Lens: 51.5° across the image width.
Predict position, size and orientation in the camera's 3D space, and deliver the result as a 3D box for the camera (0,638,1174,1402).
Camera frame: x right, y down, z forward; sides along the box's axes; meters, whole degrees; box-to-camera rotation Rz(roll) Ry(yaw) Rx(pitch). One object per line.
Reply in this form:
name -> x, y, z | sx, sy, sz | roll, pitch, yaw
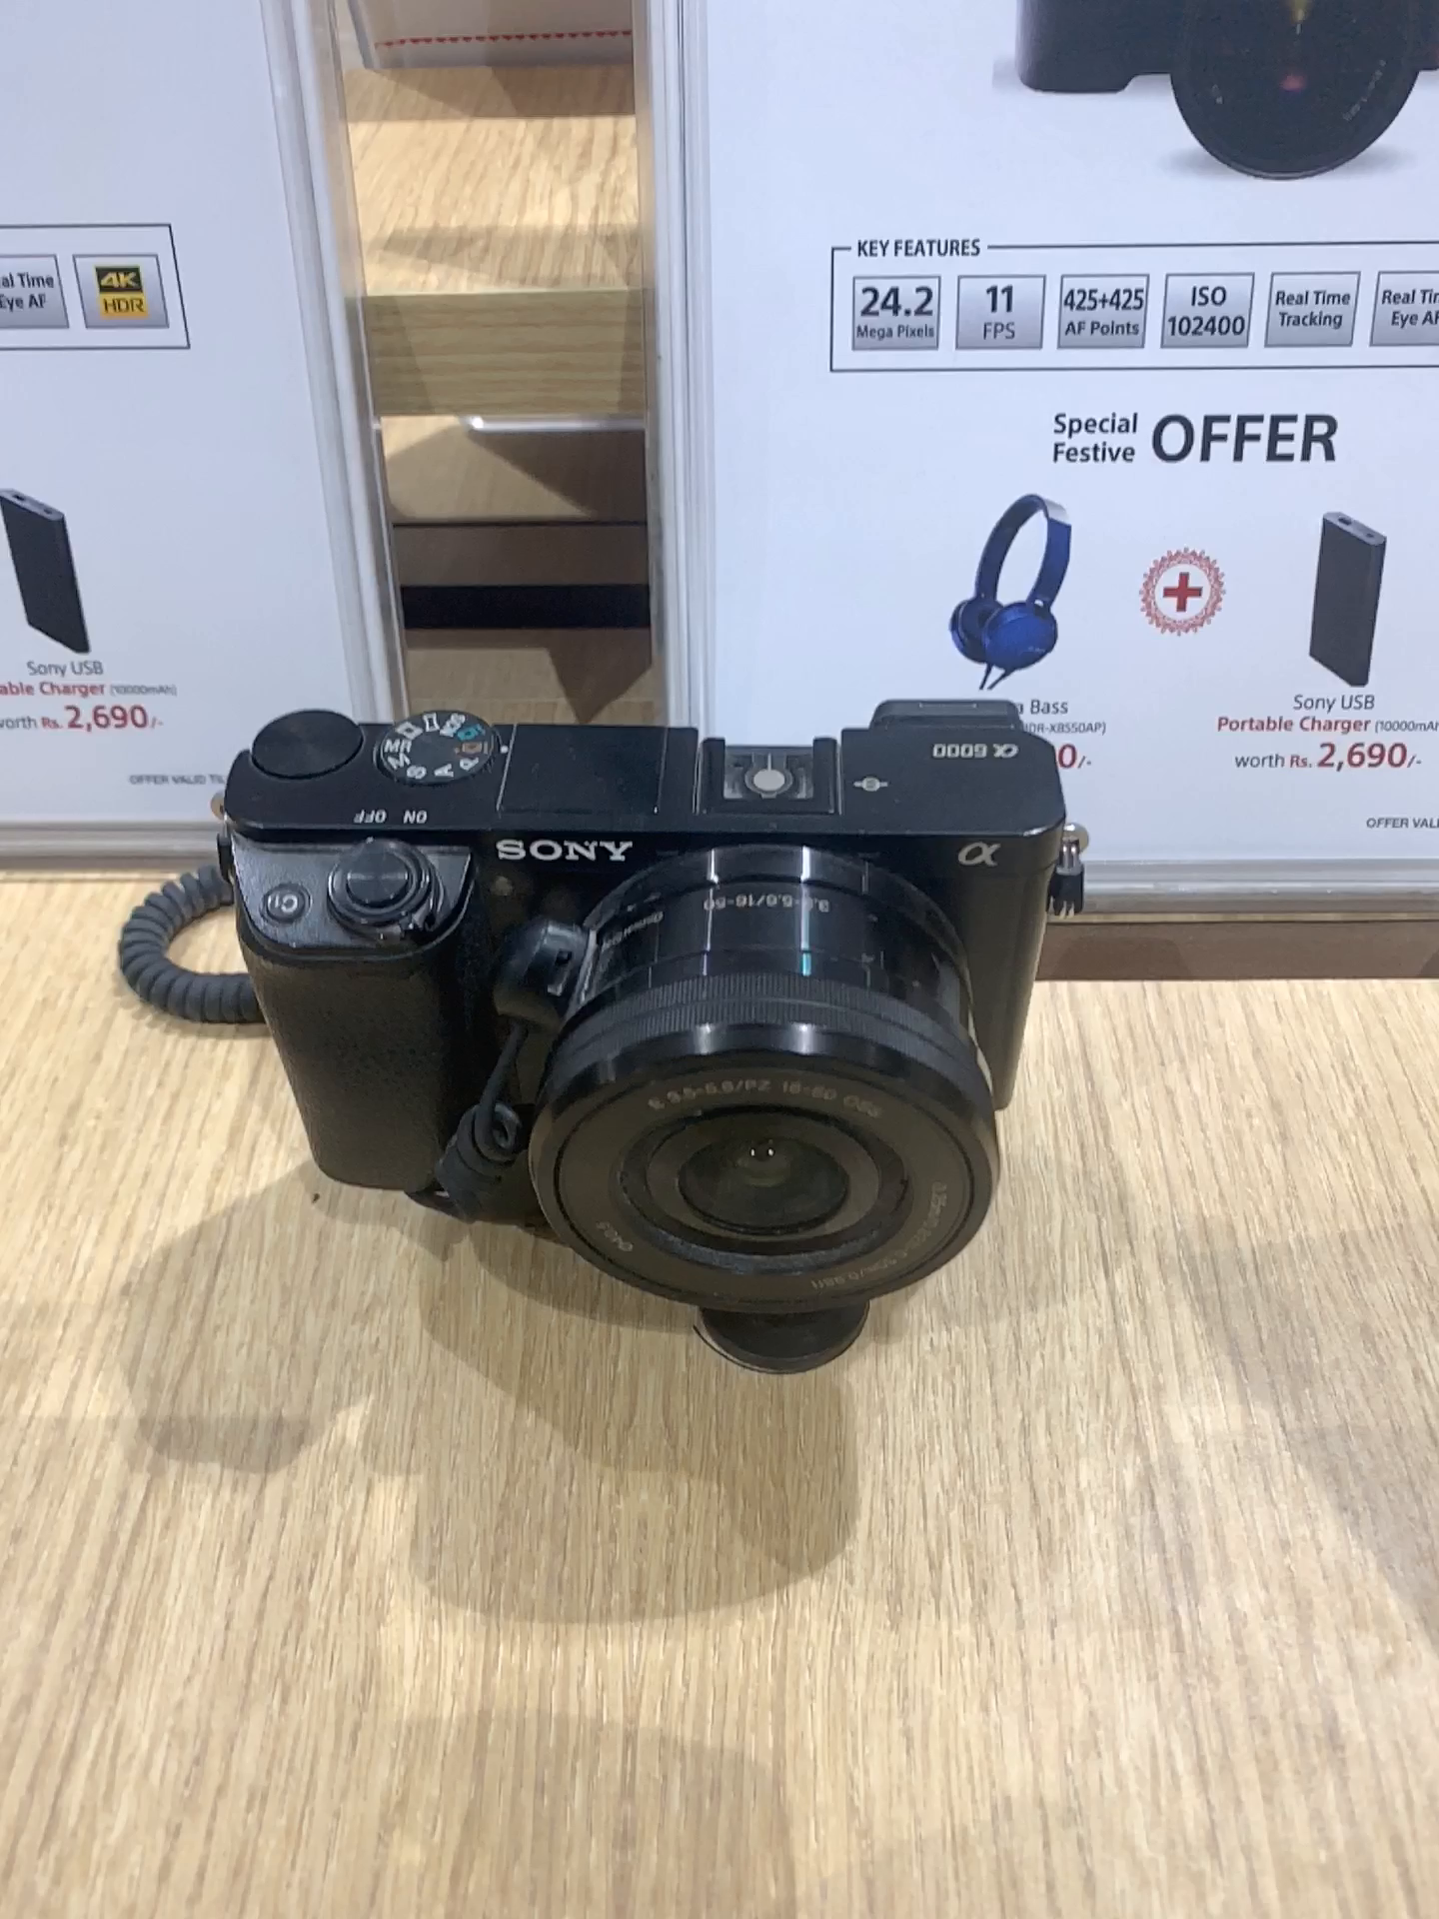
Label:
camera -> -0.013, 0.007, 0.198 | 0.120, 0.070, 0.070 | 1, 44, 2
